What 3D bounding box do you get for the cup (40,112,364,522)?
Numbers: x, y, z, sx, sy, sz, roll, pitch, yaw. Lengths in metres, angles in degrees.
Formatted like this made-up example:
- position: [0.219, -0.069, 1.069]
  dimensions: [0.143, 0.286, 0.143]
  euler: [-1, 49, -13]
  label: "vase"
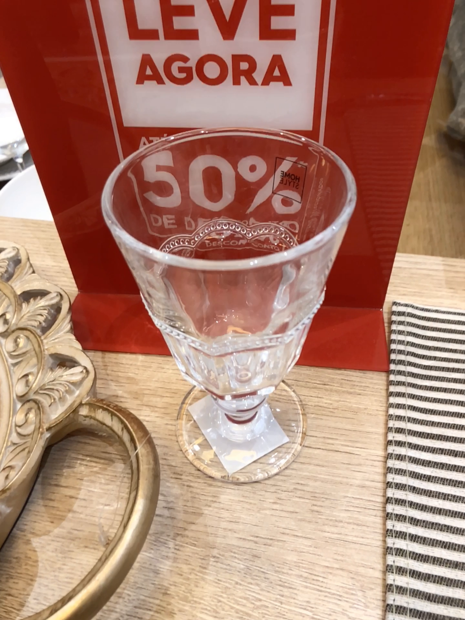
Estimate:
- position: [0.000, 0.008, 0.209]
  dimensions: [0.080, 0.139, 0.080]
  euler: [-2, 45, 2]
  label: "cup"
